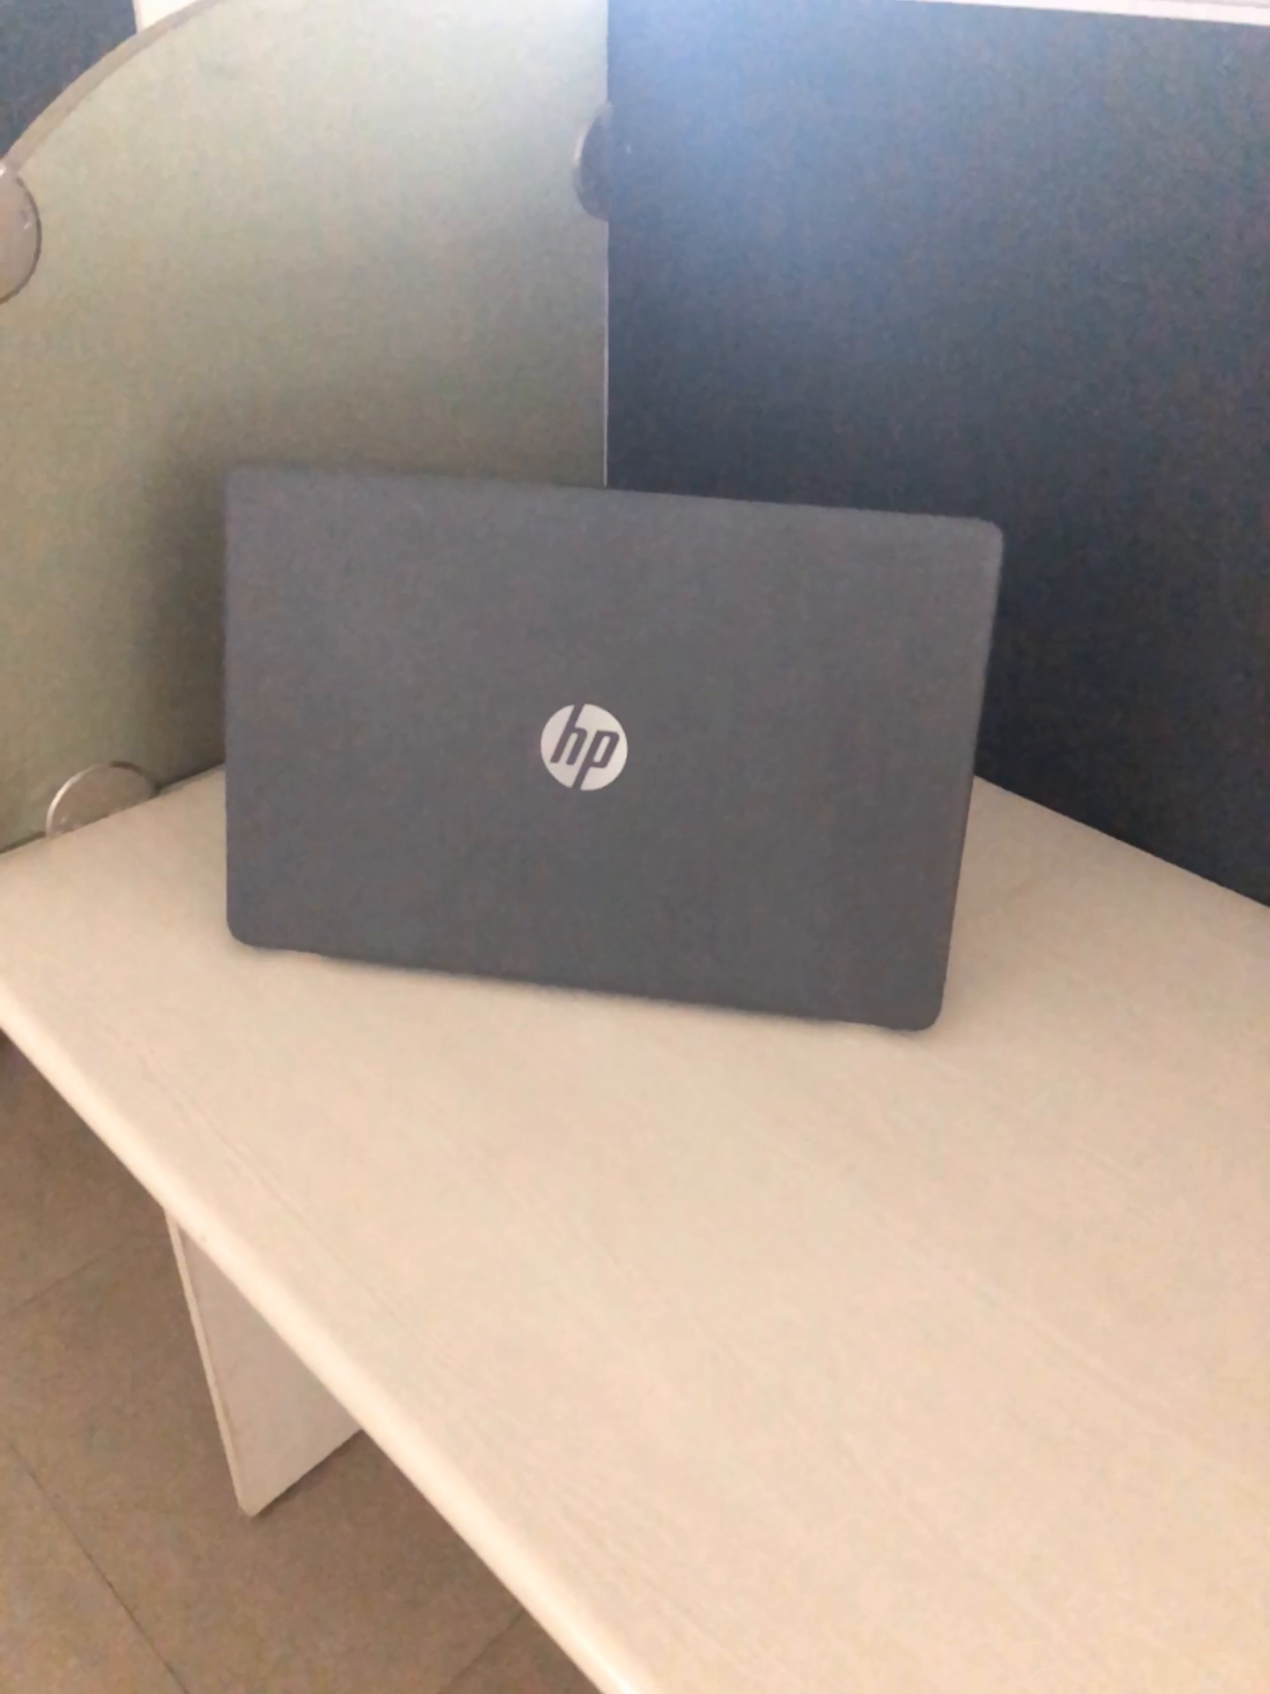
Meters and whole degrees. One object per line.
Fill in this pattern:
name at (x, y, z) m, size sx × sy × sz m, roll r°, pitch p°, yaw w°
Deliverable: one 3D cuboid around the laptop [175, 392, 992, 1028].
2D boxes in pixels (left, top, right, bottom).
laptop at (-0.010, -0.089, 0.751) m, size 0.359 × 0.216 × 0.239 m, roll 6°, pitch 35°, yaw 9°
